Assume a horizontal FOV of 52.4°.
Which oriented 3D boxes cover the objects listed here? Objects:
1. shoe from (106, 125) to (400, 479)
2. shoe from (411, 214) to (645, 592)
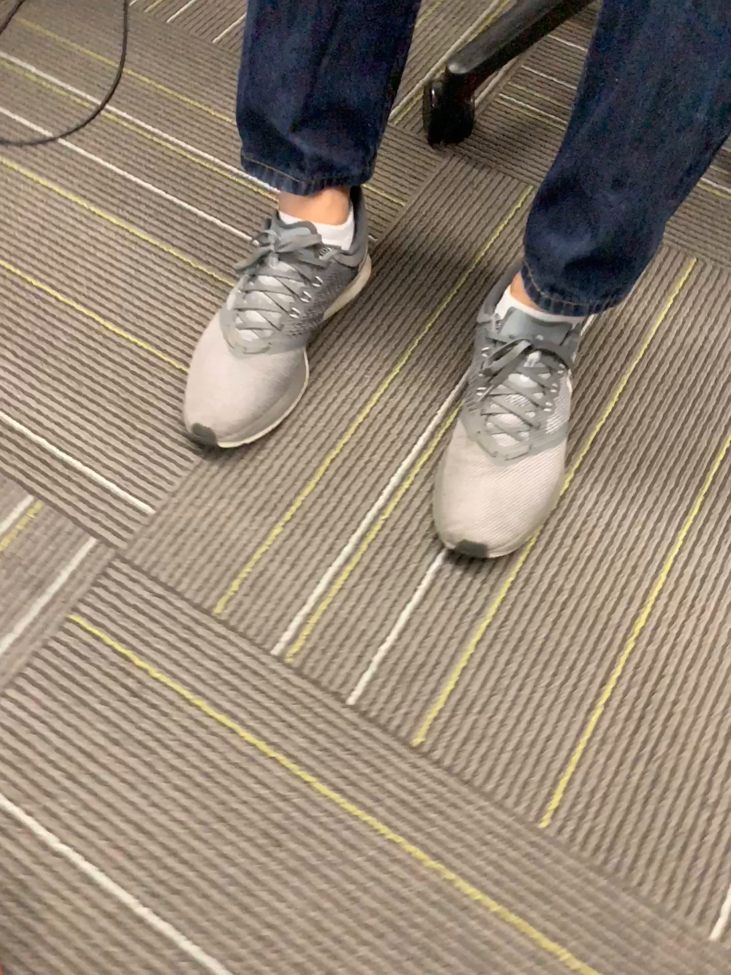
[{"bbox_3d":[-0.088,-0.176,0.695,0.120,0.123,0.291,25,67,11],"label":"shoe"},{"bbox_3d":[0.143,-0.077,0.656,0.120,0.123,0.291,16,66,8],"label":"shoe"}]
